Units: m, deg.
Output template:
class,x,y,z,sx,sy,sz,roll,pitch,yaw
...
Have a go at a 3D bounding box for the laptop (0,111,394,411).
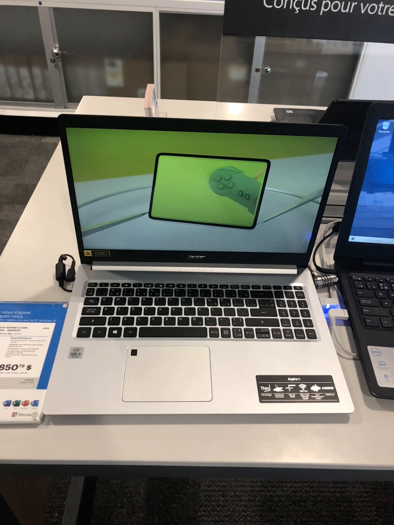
class,x,y,z,sx,sy,sz,roll,pitch,yaw
laptop,0.003,-0.008,0.521,0.349,0.229,0.268,1,42,-2
